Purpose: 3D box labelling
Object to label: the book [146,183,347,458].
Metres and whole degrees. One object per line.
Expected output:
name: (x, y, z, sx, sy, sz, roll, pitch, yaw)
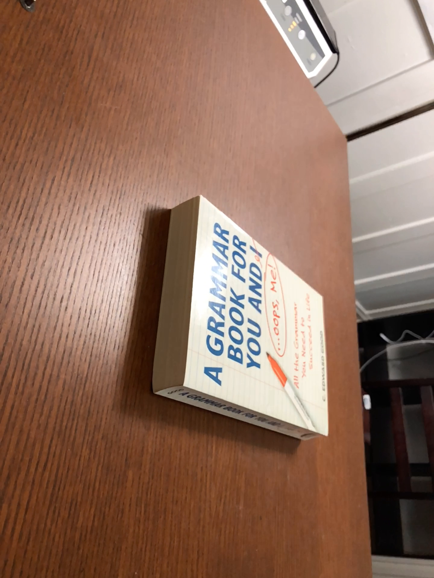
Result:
book: (0.045, 0.045, 0.428, 0.241, 0.040, 0.170, 33, 52, -46)
